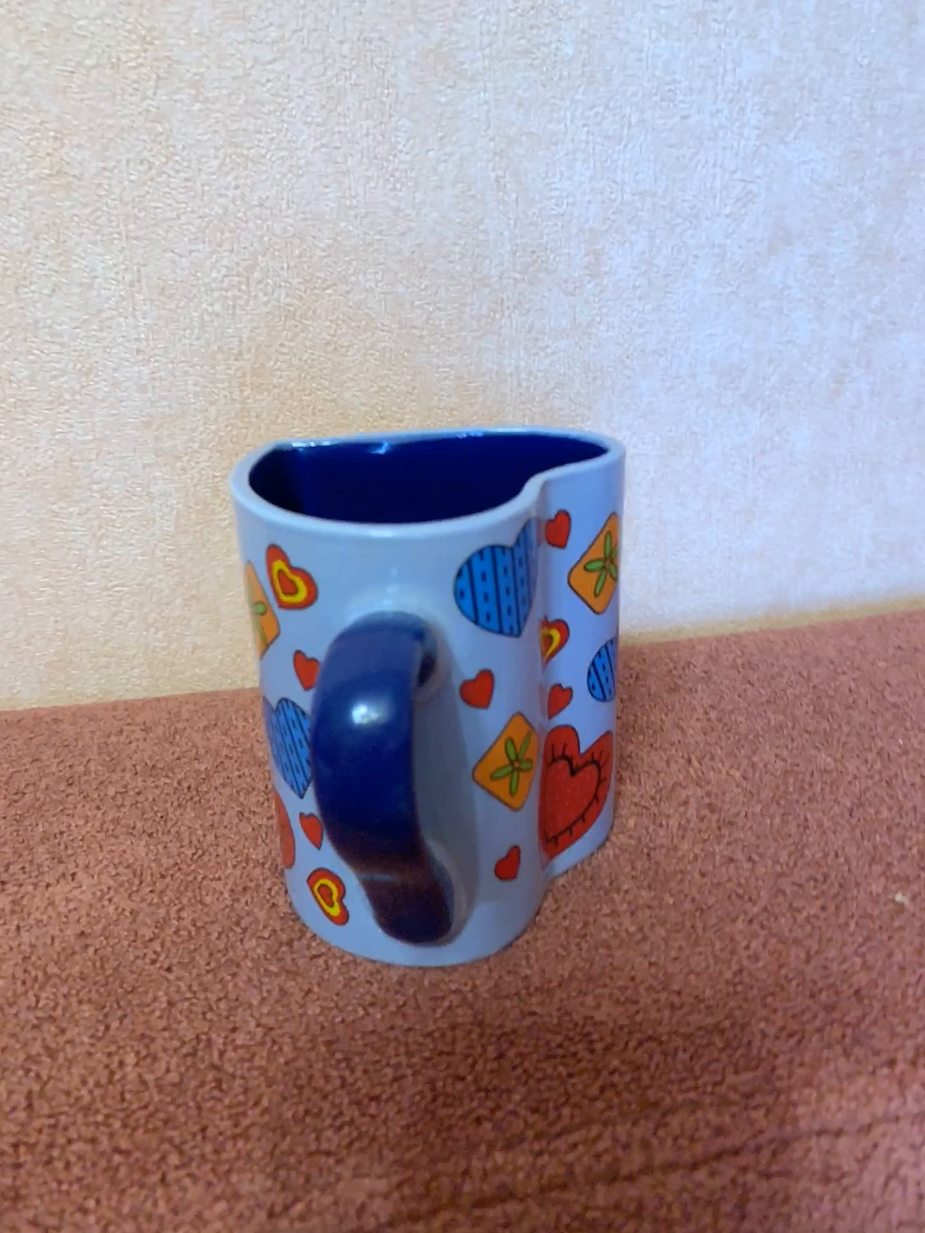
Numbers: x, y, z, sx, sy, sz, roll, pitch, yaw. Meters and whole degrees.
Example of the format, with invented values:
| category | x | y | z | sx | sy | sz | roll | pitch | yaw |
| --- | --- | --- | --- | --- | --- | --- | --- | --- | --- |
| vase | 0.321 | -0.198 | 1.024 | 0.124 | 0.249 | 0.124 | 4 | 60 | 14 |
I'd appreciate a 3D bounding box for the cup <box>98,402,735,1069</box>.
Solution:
| category | x | y | z | sx | sy | sz | roll | pitch | yaw |
| --- | --- | --- | --- | --- | --- | --- | --- | --- | --- |
| cup | -0.007 | 0.014 | 0.194 | 0.088 | 0.090 | 0.098 | -4 | 24 | -2 |
